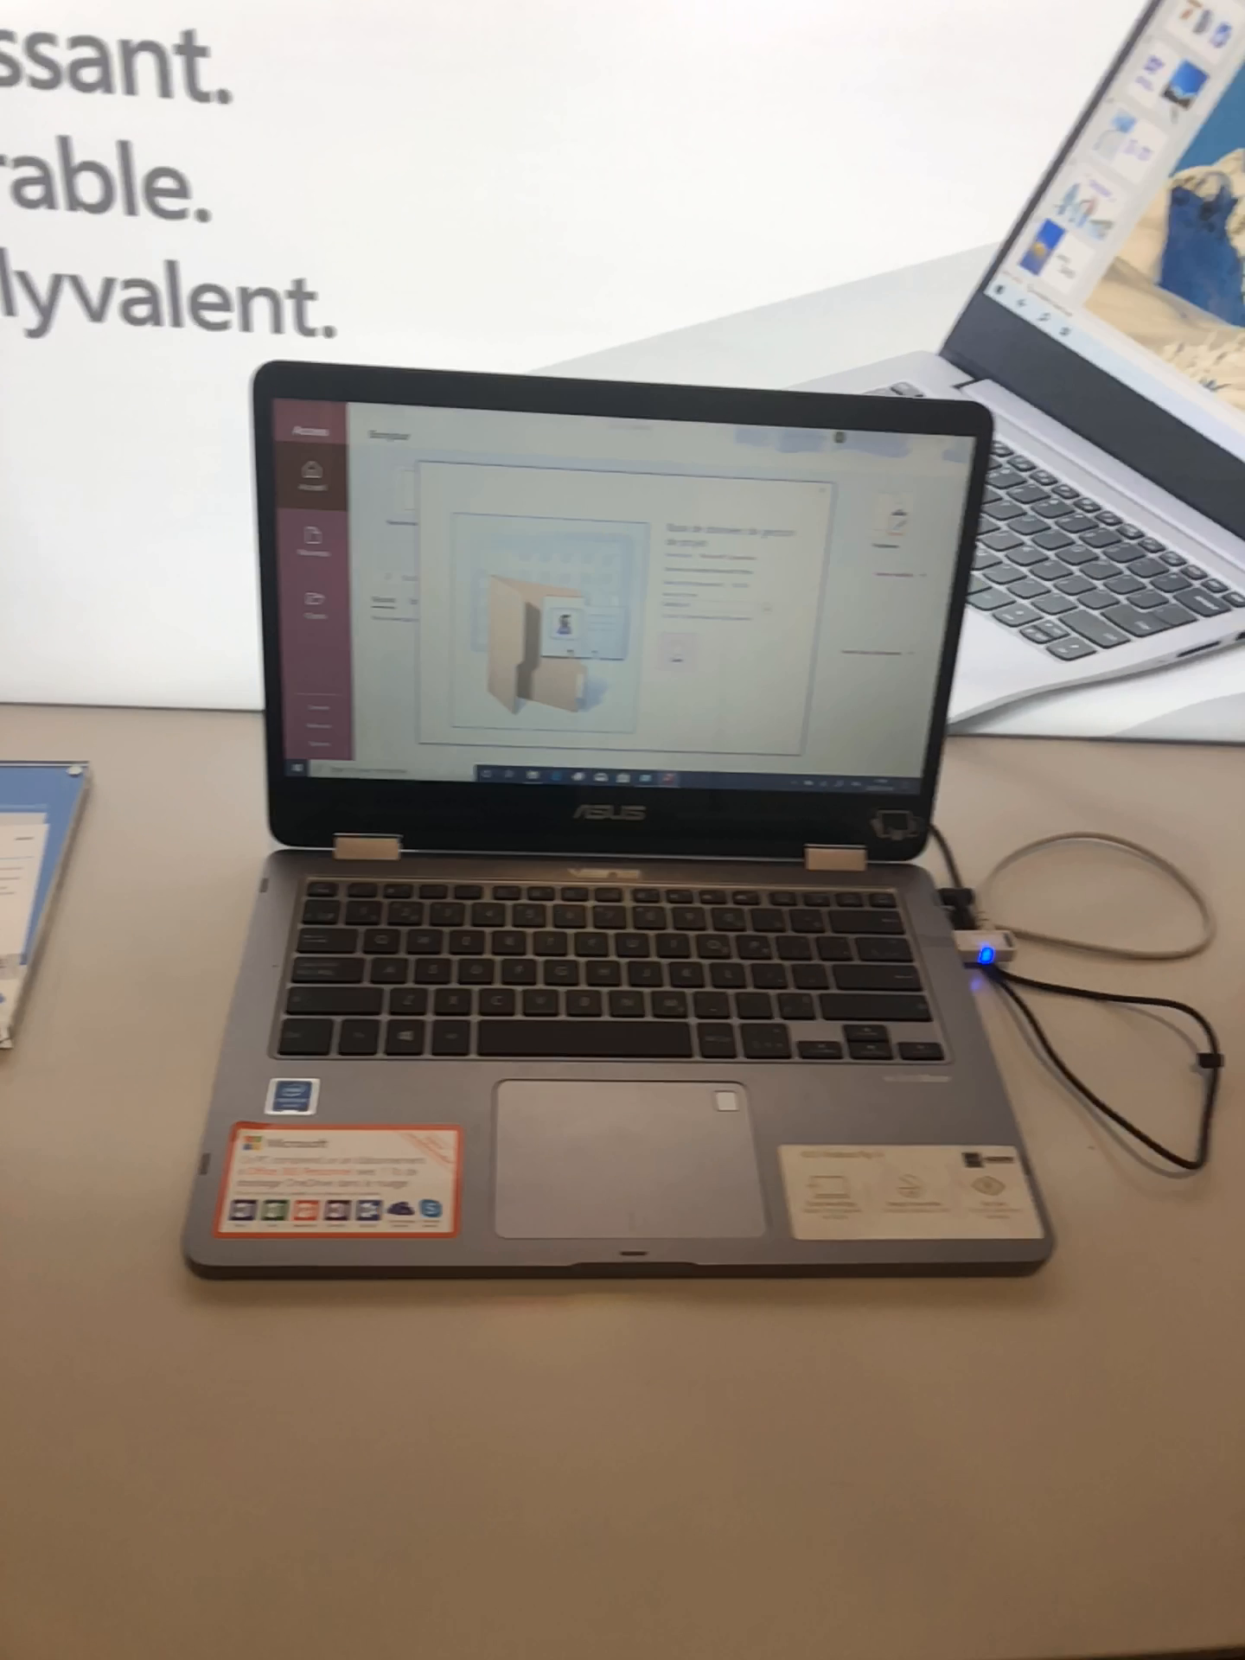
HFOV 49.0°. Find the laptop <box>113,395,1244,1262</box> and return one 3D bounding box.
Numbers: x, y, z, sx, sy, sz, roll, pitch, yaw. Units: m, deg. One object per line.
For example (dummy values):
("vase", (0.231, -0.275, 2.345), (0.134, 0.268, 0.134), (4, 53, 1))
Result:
("laptop", (0.007, -0.011, 0.543), (0.311, 0.214, 0.273), (2, 39, -6))
